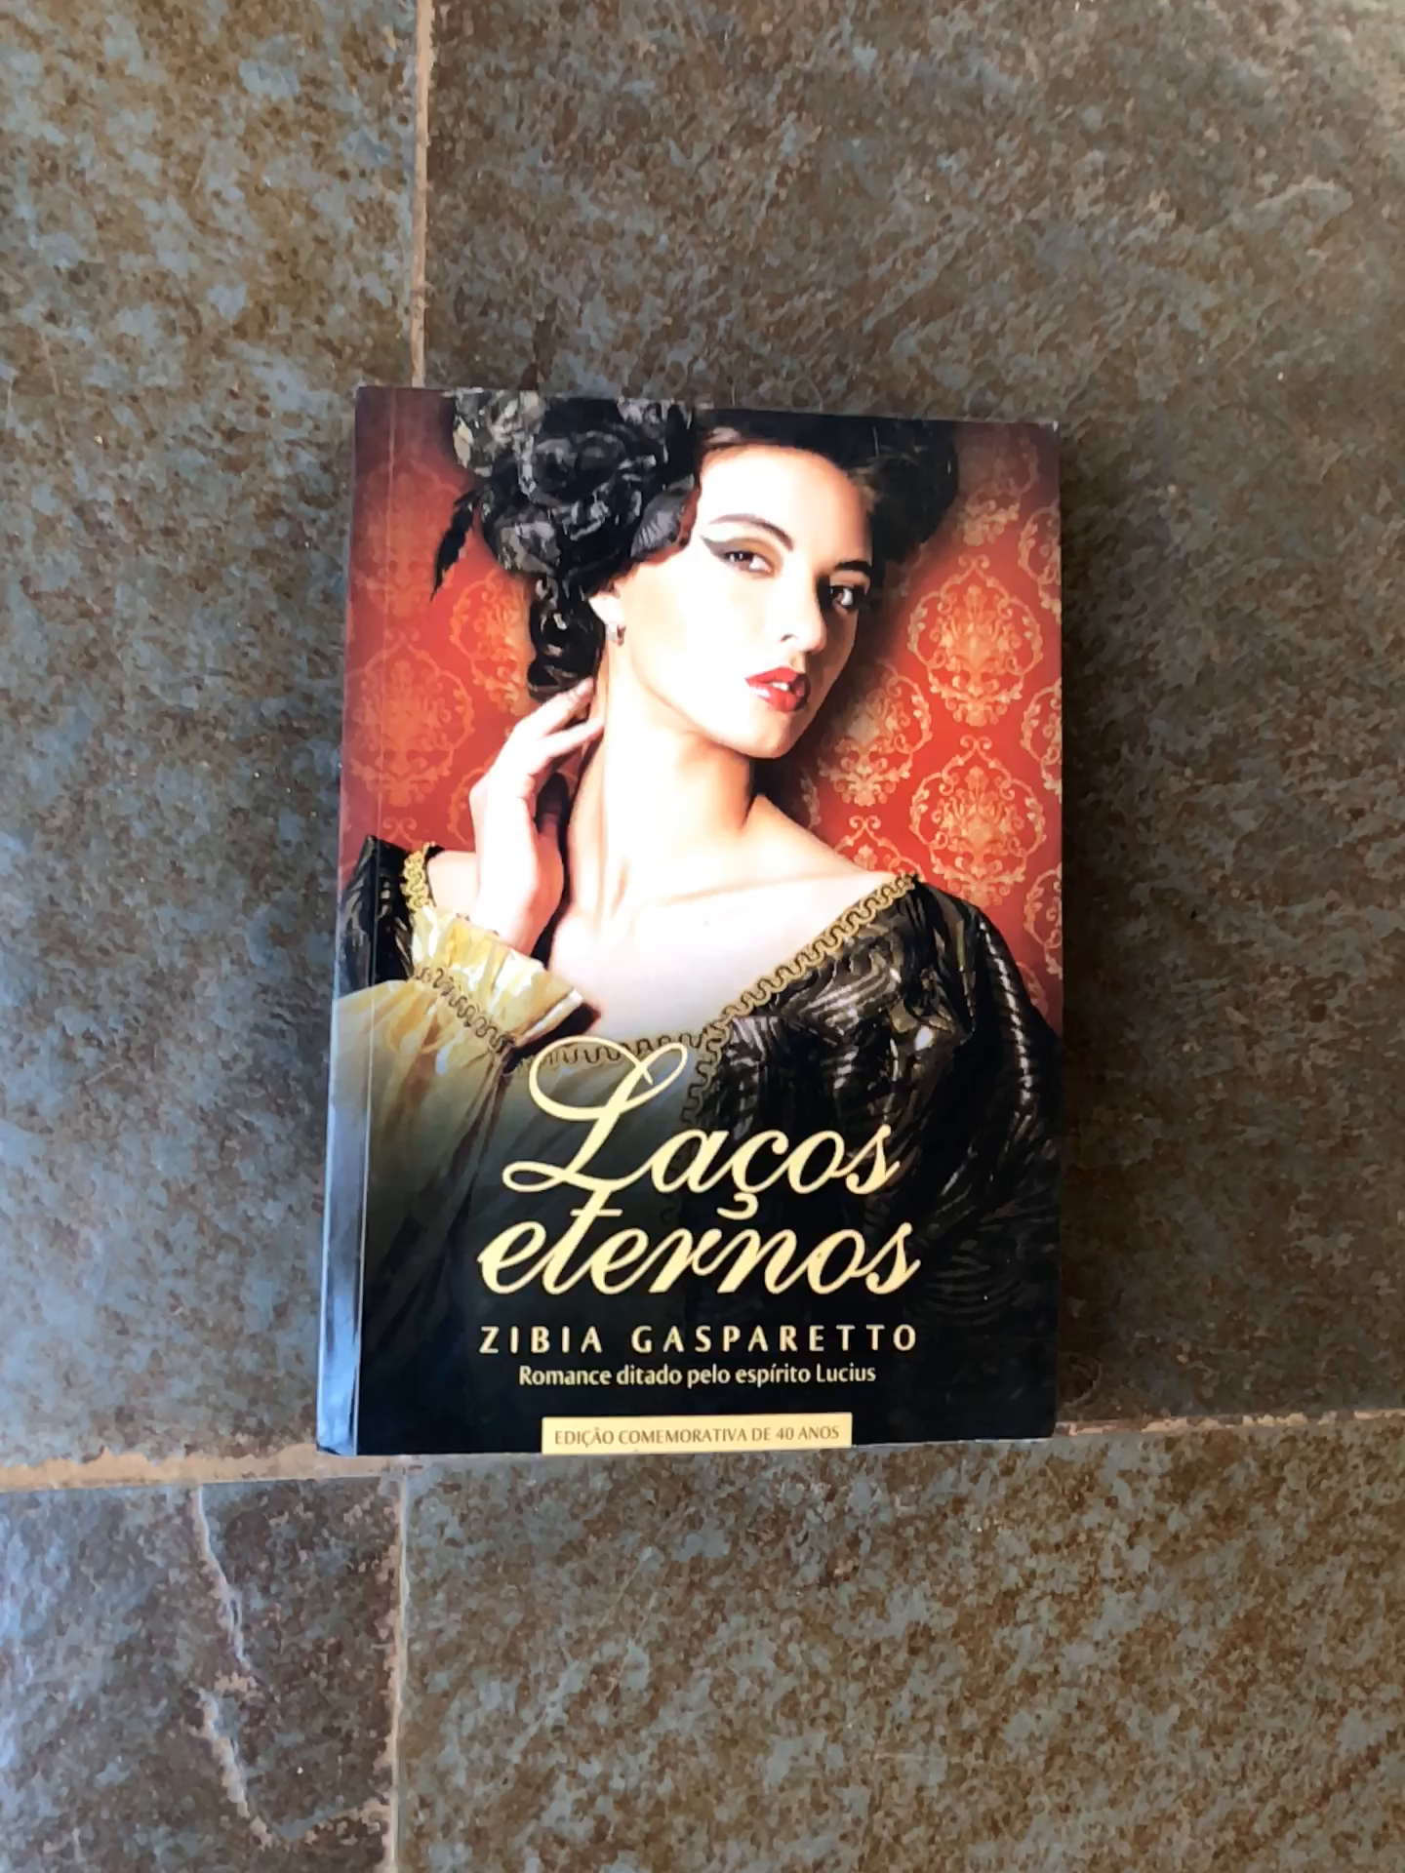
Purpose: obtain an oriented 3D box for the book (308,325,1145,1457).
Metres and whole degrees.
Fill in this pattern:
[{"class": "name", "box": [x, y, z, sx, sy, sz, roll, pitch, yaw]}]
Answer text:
[{"class": "book", "box": [0.006, -0.009, 0.303, 0.153, 0.027, 0.204, 1, 85, -9]}]
